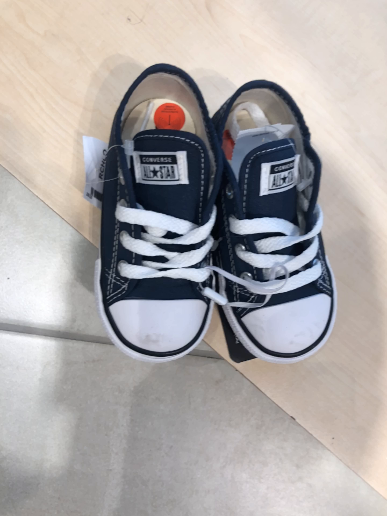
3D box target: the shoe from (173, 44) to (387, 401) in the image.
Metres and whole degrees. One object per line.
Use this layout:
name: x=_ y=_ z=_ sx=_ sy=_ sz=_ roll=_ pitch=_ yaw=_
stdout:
shoe: x=0.043 y=-0.020 z=0.246 sx=0.080 sy=0.060 sz=0.170 roll=-8 pitch=89 yaw=-9

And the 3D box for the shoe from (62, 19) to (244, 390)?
shoe: x=-0.021 y=-0.024 z=0.232 sx=0.080 sy=0.060 sz=0.170 roll=2 pitch=87 yaw=-9
